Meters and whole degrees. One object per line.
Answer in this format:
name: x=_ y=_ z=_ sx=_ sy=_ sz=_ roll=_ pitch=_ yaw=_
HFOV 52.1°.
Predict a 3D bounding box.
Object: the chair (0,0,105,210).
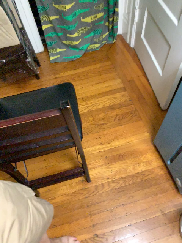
chair: x=-0.260 y=-0.028 z=0.853 sx=0.490 sy=0.867 sz=0.552 roll=-16 pitch=57 yaw=-6
